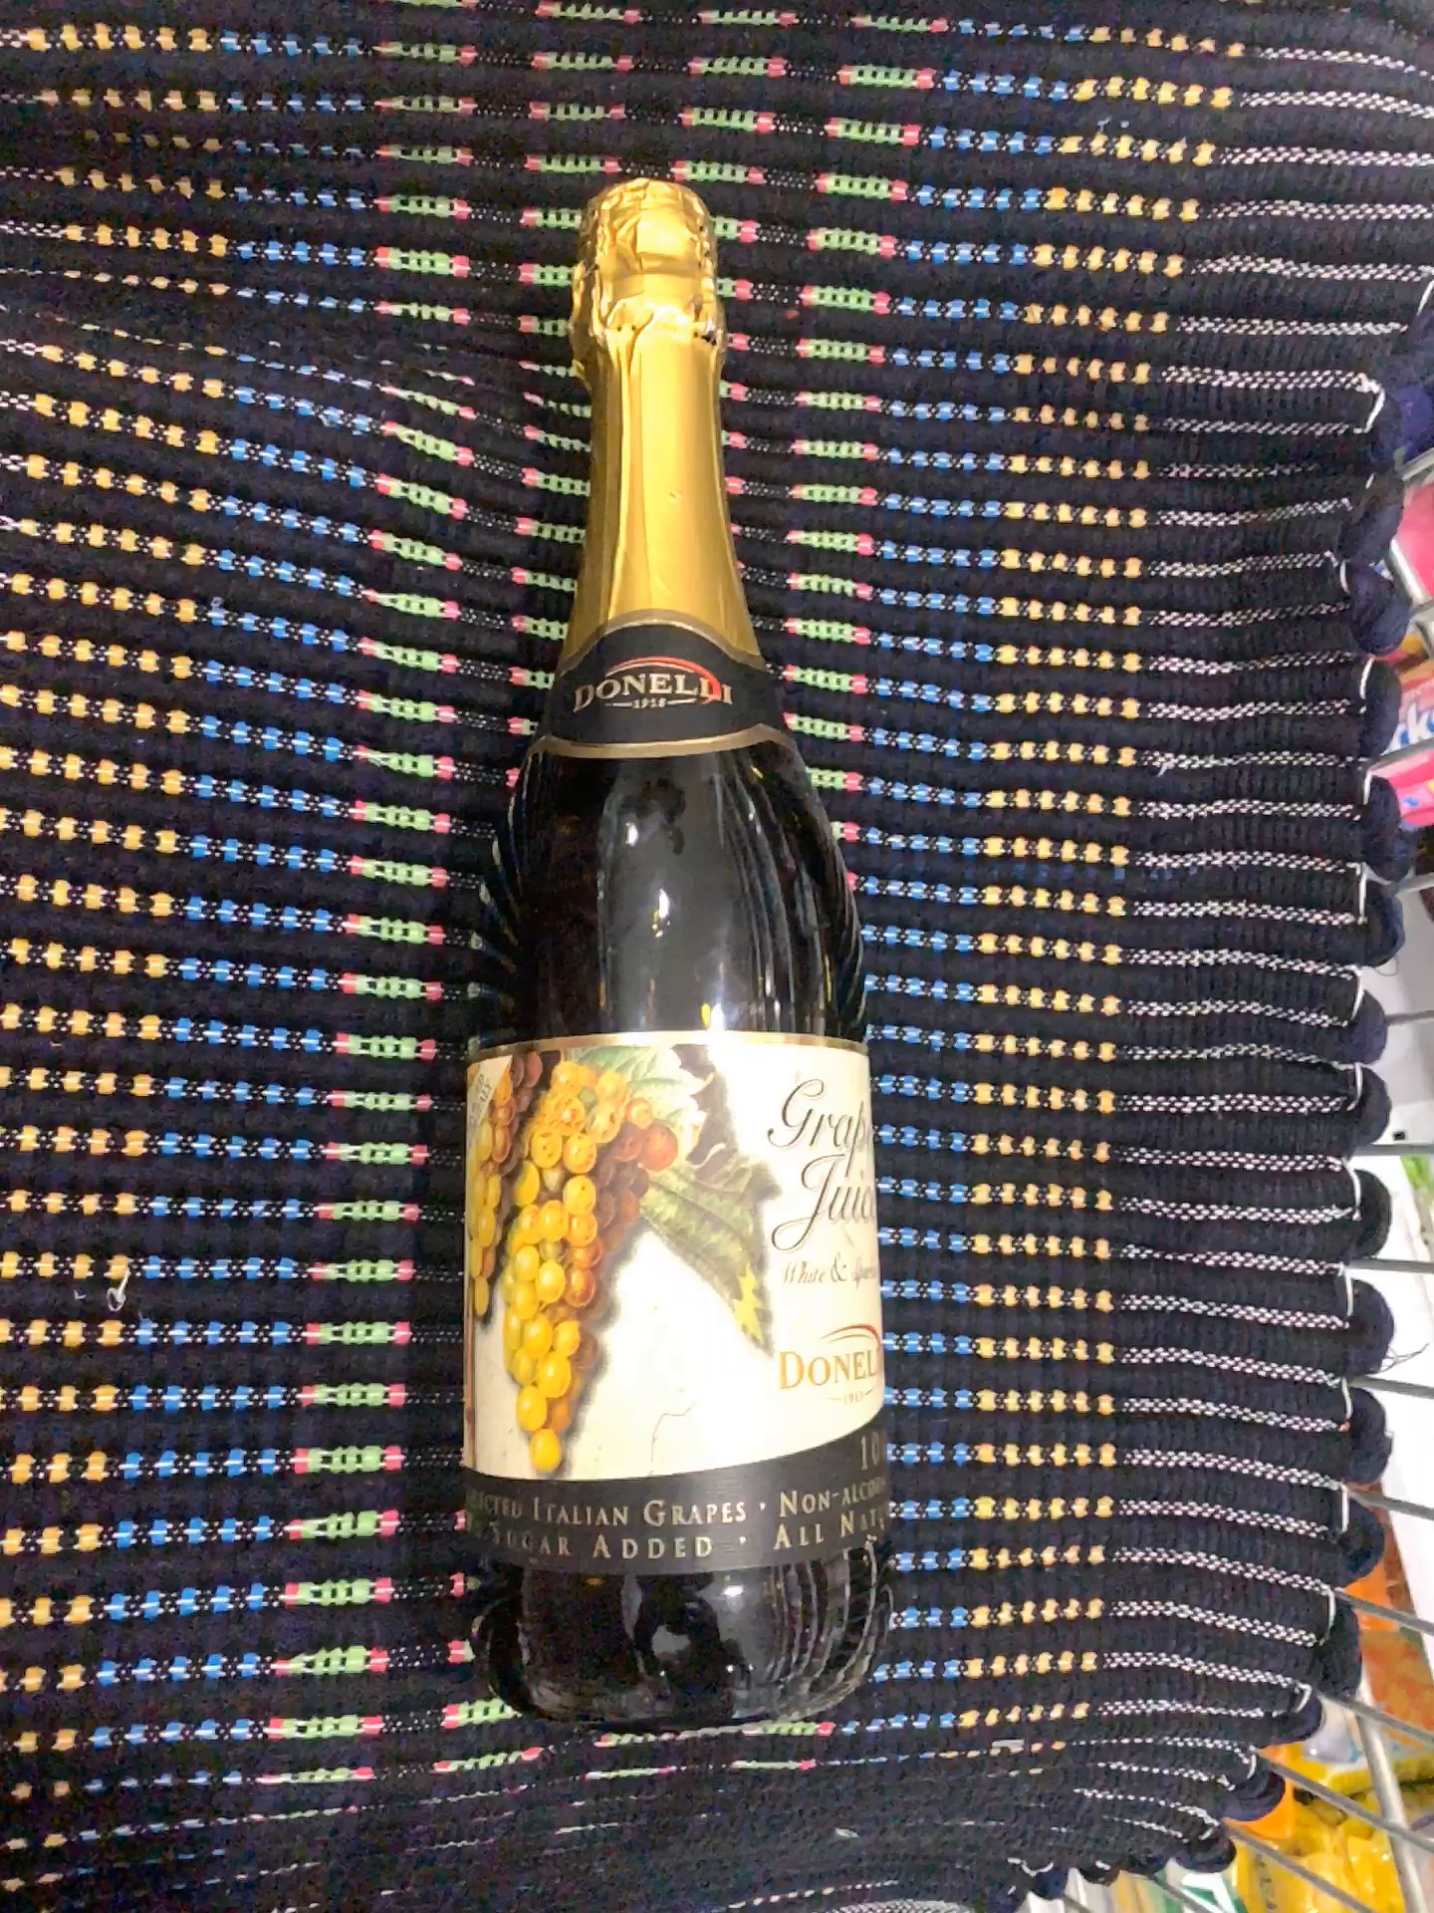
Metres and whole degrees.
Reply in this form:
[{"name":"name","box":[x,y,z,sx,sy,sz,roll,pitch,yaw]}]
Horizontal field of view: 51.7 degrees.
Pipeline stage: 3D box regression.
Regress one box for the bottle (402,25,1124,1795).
[{"name":"bottle","box":[-0.004,-0.018,0.293,0.090,0.080,0.300,3,72,-26]}]
